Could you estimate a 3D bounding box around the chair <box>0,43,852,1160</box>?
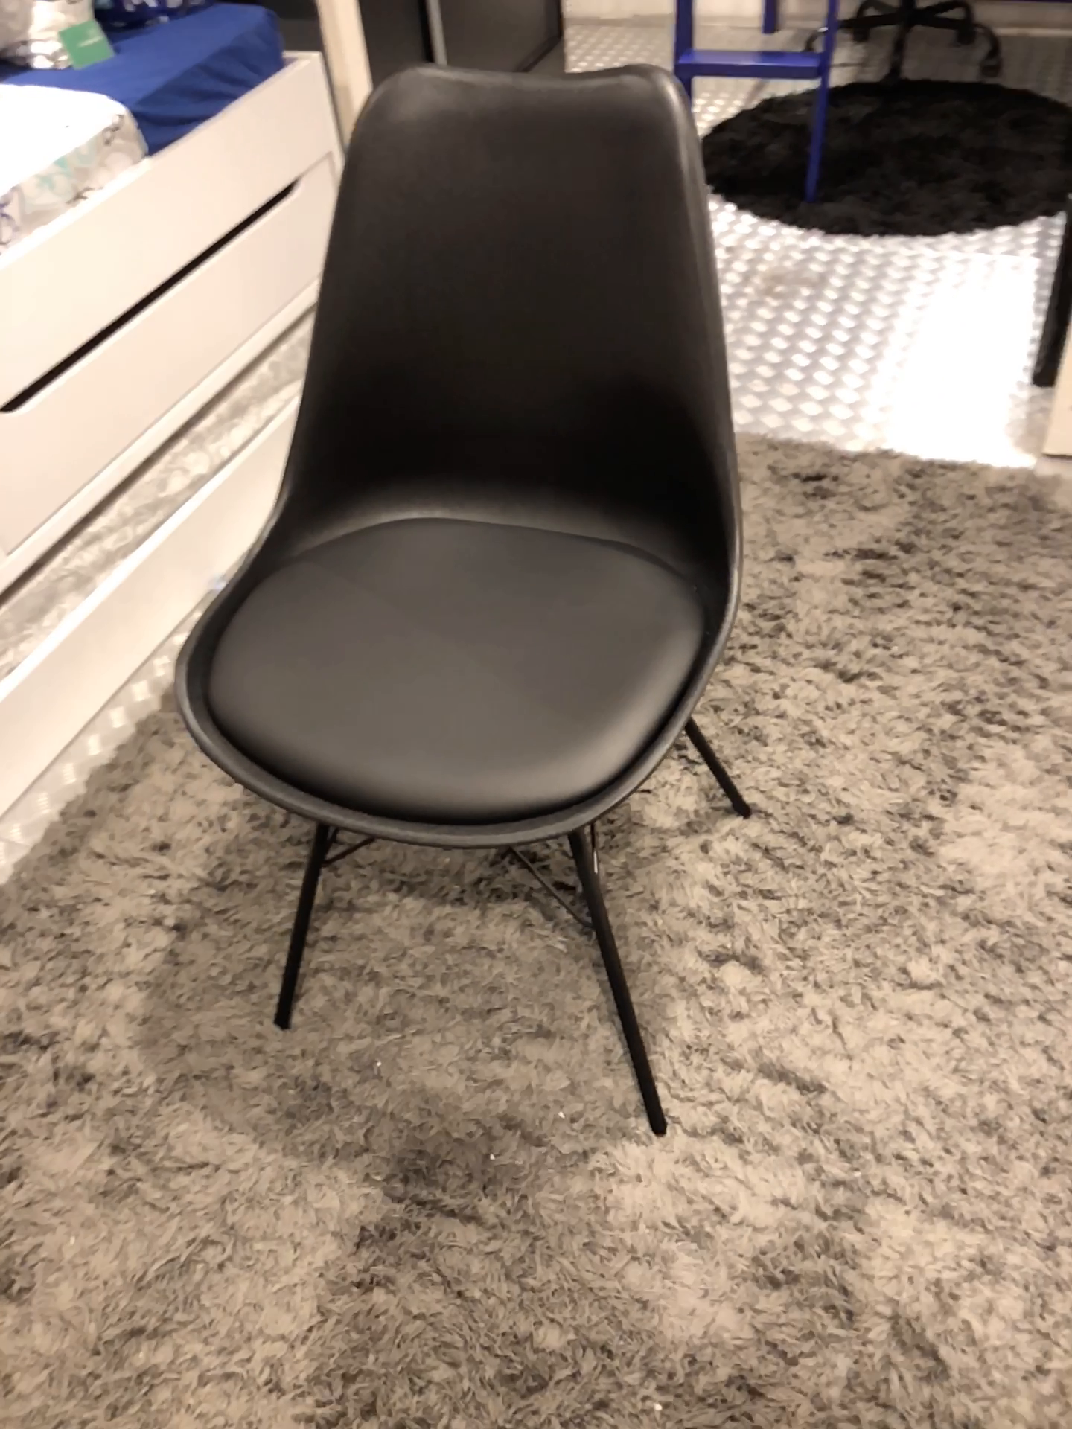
[{"bbox_3d":[-0.059,-0.095,1.102,0.520,0.805,0.533,12,47,19],"label":"chair"}]
